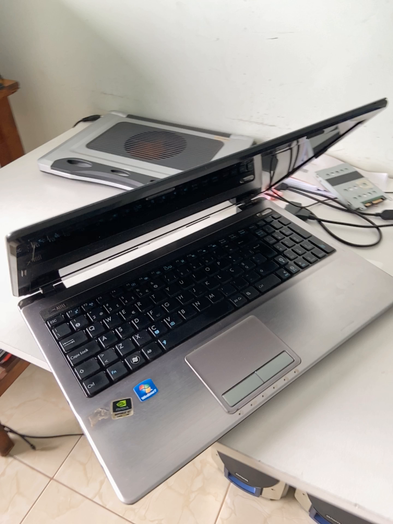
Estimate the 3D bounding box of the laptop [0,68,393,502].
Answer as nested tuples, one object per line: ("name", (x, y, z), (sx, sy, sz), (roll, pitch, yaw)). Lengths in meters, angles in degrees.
("laptop", (0.025, -0.031, 0.399), (0.377, 0.182, 0.247), (-26, 47, -27))
